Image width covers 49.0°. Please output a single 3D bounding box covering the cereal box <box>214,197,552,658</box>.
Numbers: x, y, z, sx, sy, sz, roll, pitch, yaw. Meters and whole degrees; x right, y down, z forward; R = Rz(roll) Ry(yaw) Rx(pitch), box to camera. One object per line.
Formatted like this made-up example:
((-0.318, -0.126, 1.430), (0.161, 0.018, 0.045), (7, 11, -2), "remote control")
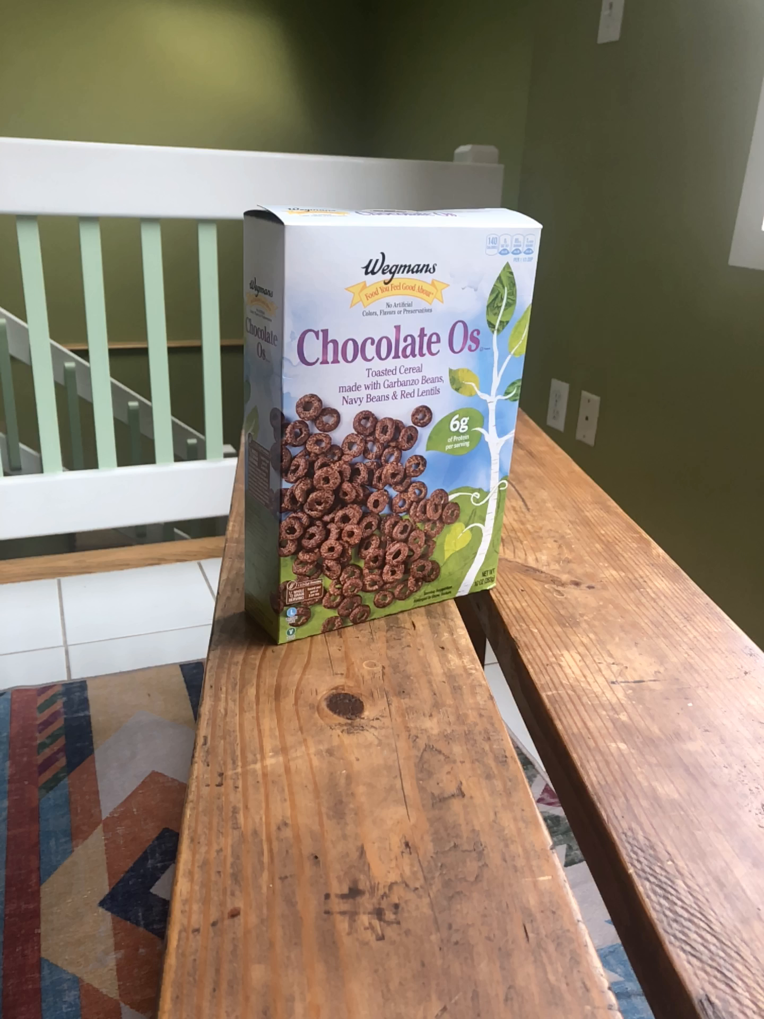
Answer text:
((-0.001, -0.060, 0.572), (0.211, 0.278, 0.060), (-11, 26, -31), "cereal box")
